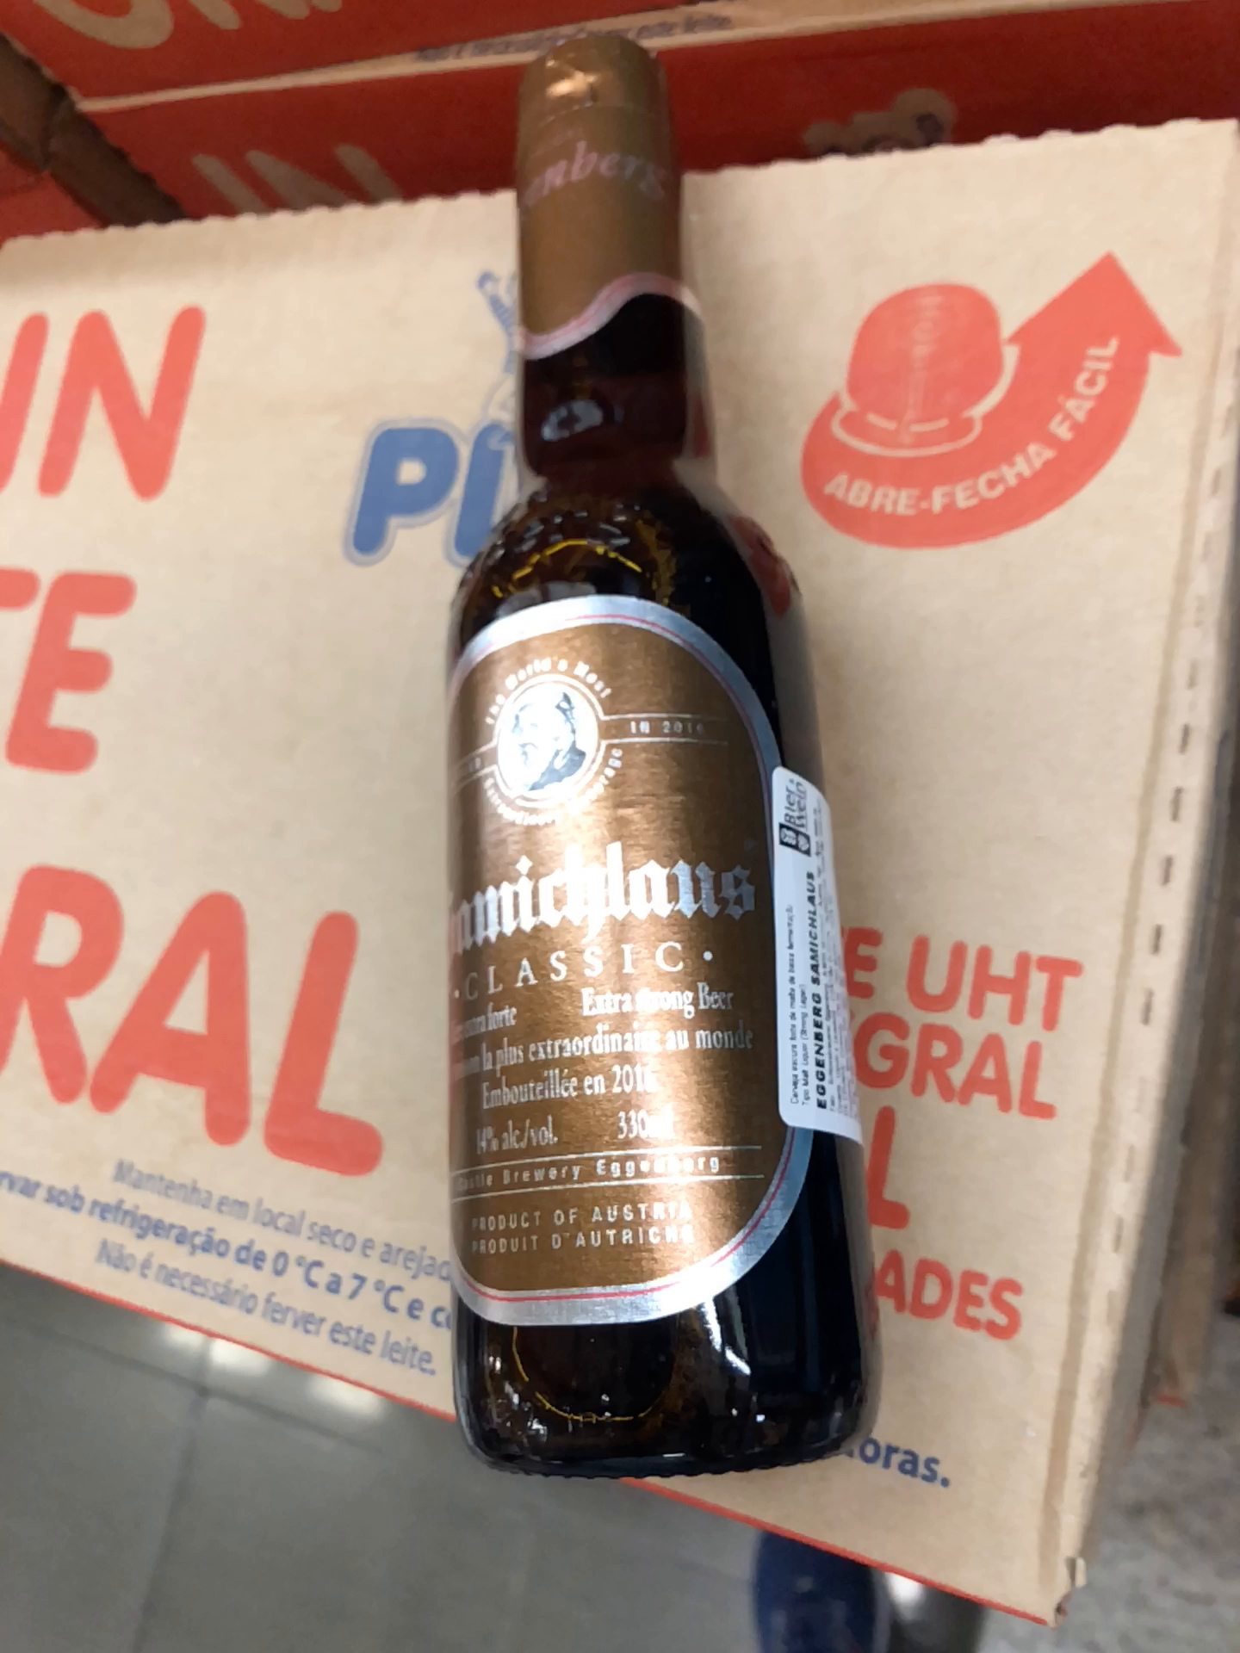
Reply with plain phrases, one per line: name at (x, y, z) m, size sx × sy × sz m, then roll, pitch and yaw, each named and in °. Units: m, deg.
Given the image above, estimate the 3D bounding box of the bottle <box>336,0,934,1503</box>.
bottle at (-0.003, -0.038, 0.214) m, size 0.060 × 0.050 × 0.250 m, roll -11°, pitch 71°, yaw 21°
